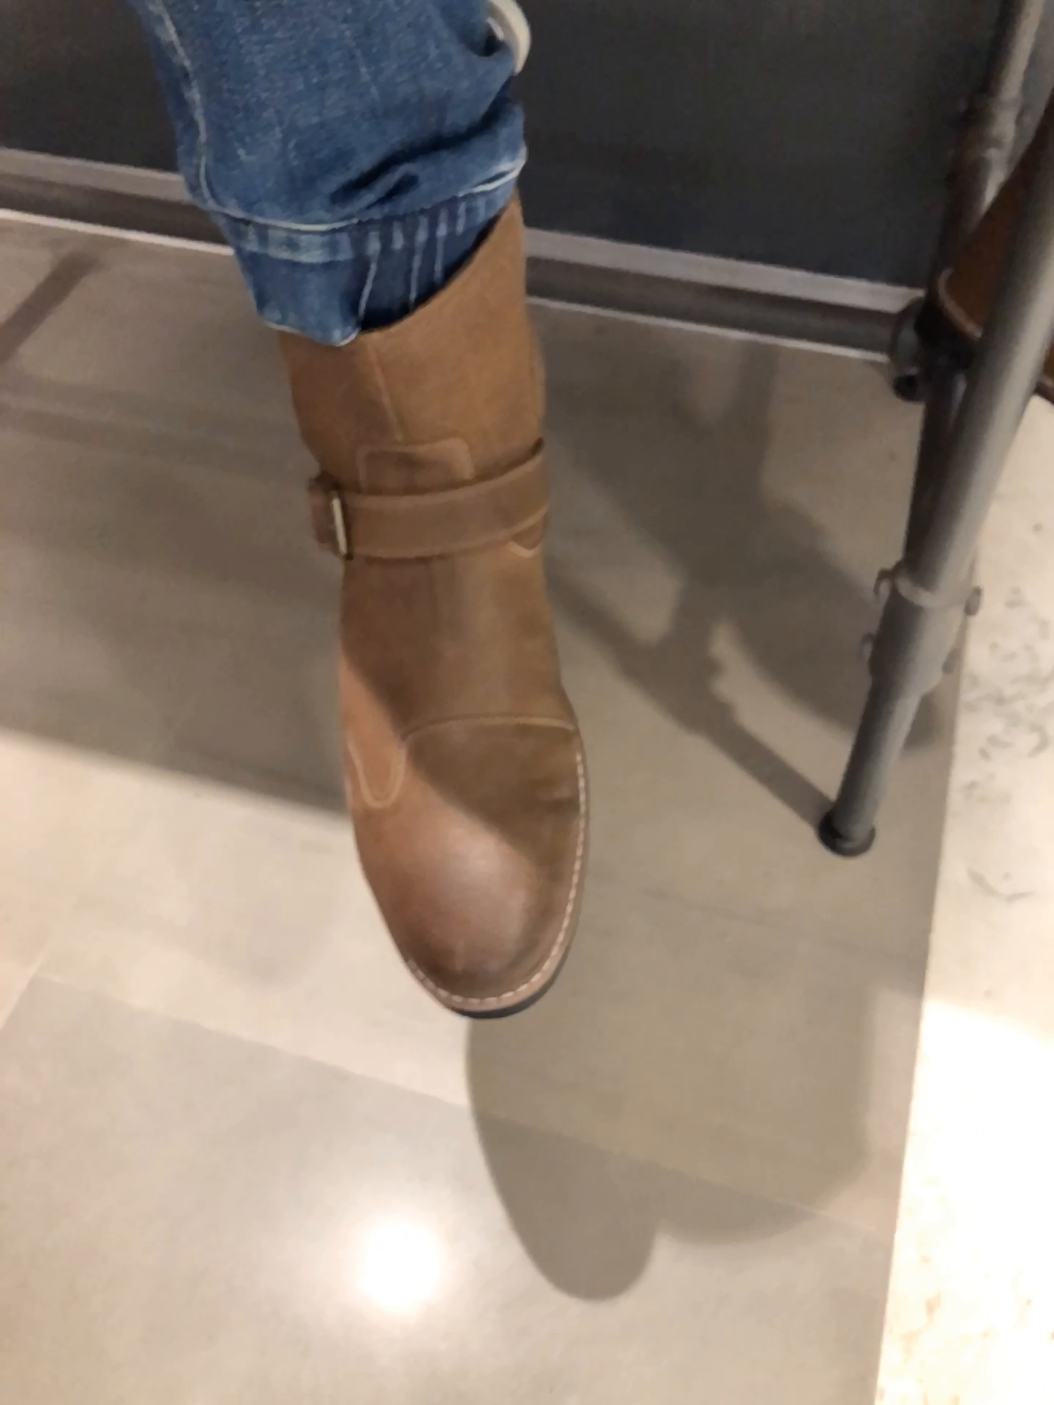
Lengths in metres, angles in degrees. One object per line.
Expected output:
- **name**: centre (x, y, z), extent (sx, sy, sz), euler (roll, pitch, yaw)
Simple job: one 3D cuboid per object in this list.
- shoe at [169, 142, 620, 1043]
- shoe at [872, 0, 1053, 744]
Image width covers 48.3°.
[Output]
- **shoe**: centre (-0.037, -0.041, 0.462), extent (0.108, 0.206, 0.275), euler (-7, 55, 2)
- **shoe**: centre (0.351, -0.180, 0.539), extent (0.114, 0.206, 0.324), euler (-24, 62, -29)
